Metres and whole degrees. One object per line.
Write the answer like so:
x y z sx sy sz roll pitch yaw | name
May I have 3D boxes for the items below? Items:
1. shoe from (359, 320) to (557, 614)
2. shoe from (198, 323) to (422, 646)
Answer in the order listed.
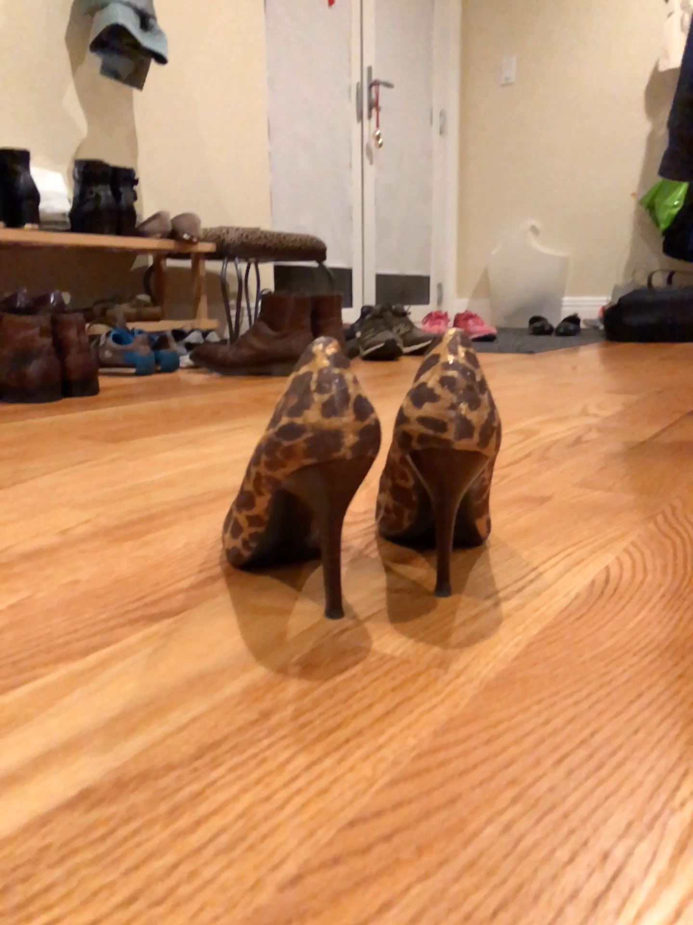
0.057 -0.015 0.489 0.083 0.144 0.219 -1 12 -2 | shoe
-0.034 -0.008 0.459 0.083 0.144 0.219 -4 12 -15 | shoe
